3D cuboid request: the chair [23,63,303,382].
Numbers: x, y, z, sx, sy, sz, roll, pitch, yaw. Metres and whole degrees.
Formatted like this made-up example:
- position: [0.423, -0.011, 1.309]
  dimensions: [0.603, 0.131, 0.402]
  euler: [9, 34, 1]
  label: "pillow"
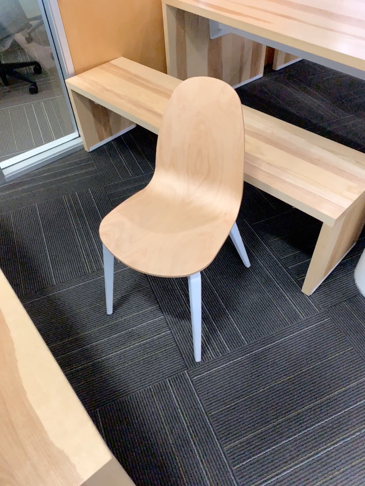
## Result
- position: [0.005, -0.071, 1.297]
  dimensions: [0.521, 0.766, 0.652]
  euler: [19, 51, 20]
  label: "chair"
